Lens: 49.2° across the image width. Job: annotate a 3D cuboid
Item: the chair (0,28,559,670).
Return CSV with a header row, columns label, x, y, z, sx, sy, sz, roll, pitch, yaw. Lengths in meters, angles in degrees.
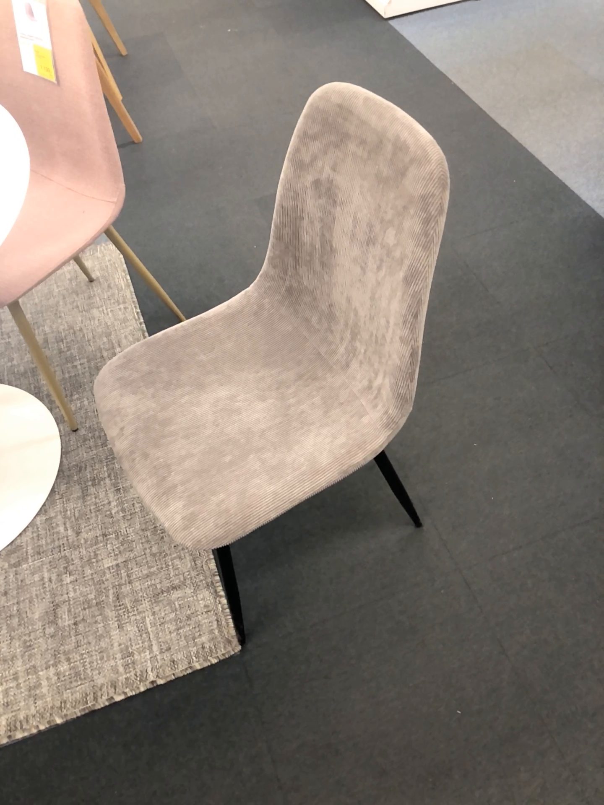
label,x,y,z,sx,sy,sz,roll,pitch,yaw
chair,-0.069,-0.057,1.175,0.580,0.807,0.582,-27,55,-15
